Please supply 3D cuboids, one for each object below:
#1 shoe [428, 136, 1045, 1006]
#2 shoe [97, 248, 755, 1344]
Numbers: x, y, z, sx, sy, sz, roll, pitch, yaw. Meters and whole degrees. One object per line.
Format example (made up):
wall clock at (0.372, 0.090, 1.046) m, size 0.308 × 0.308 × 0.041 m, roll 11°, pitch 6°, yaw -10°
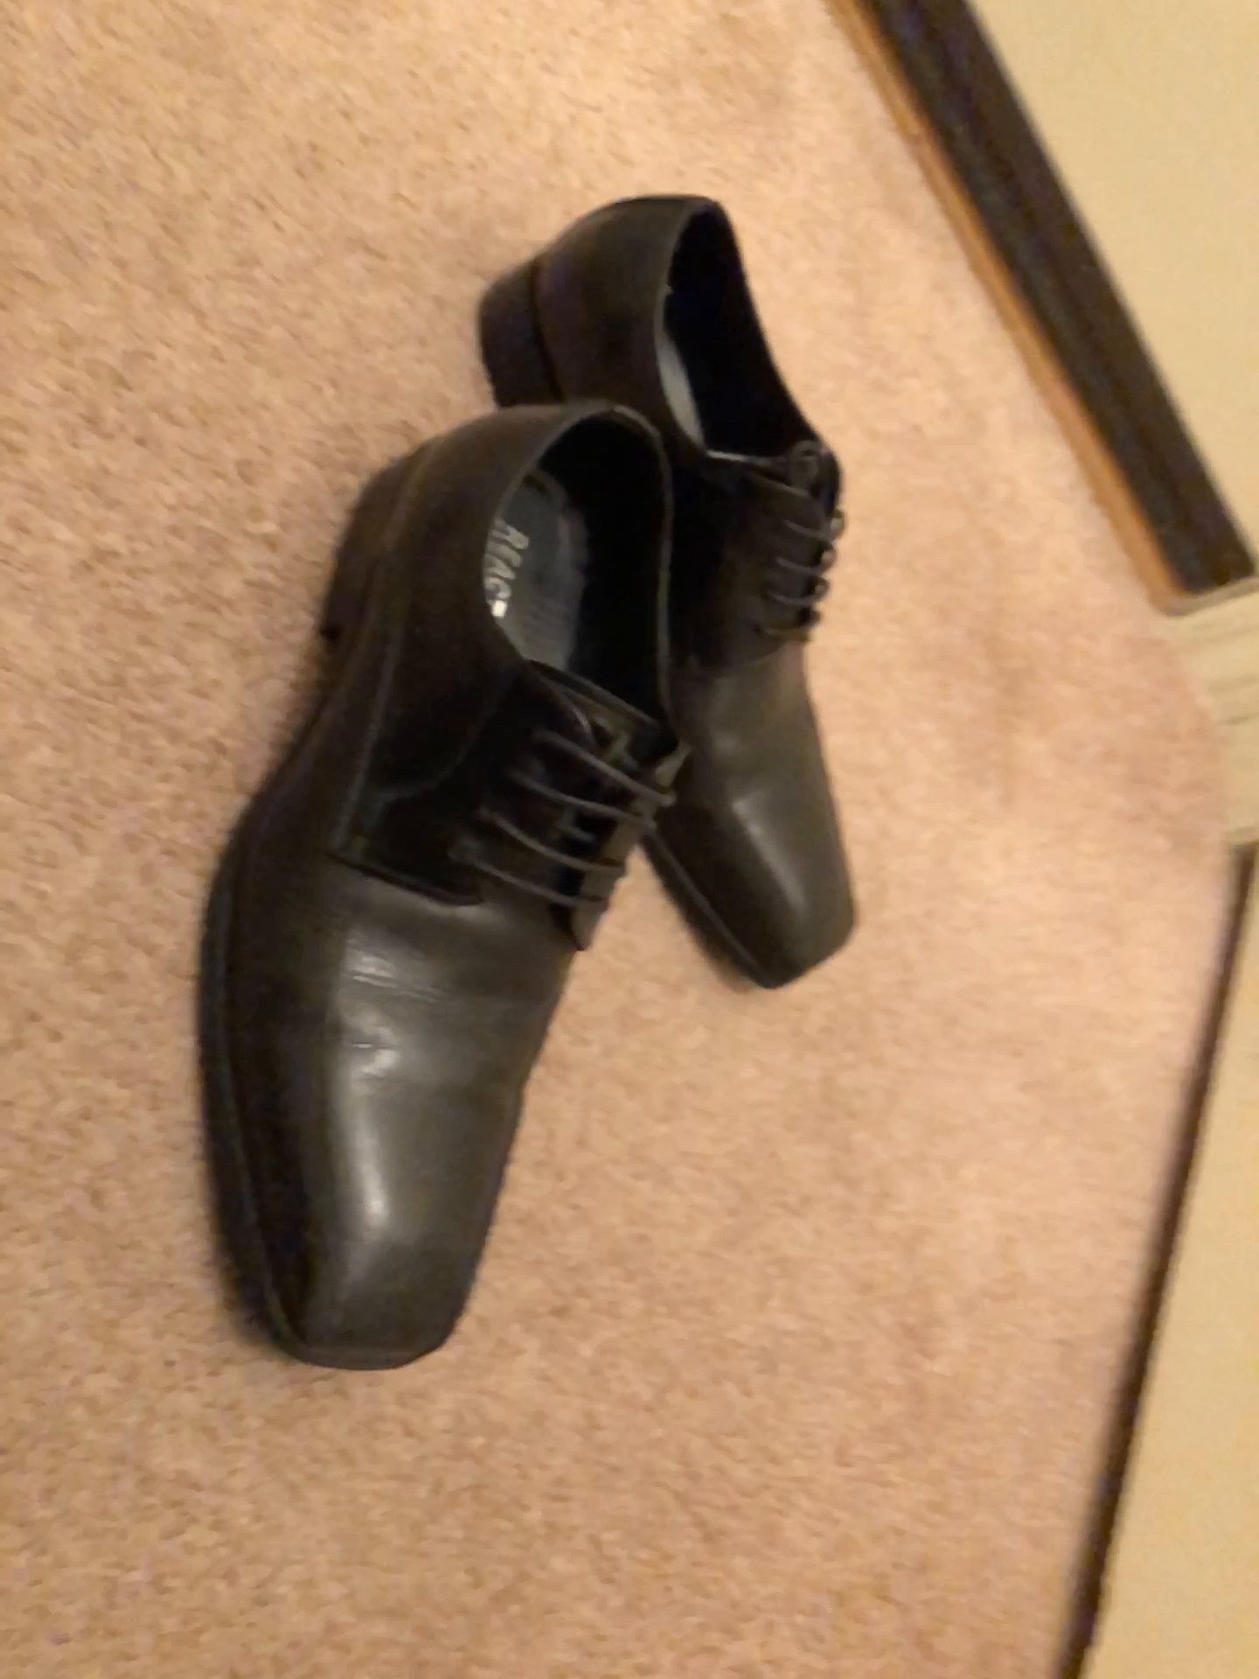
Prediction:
shoe at (0.046, -0.099, 0.555) m, size 0.116 × 0.110 × 0.297 m, roll -23°, pitch 96°, yaw -46°
shoe at (-0.049, -0.008, 0.416) m, size 0.110 × 0.107 × 0.283 m, roll 24°, pitch 63°, yaw -39°
